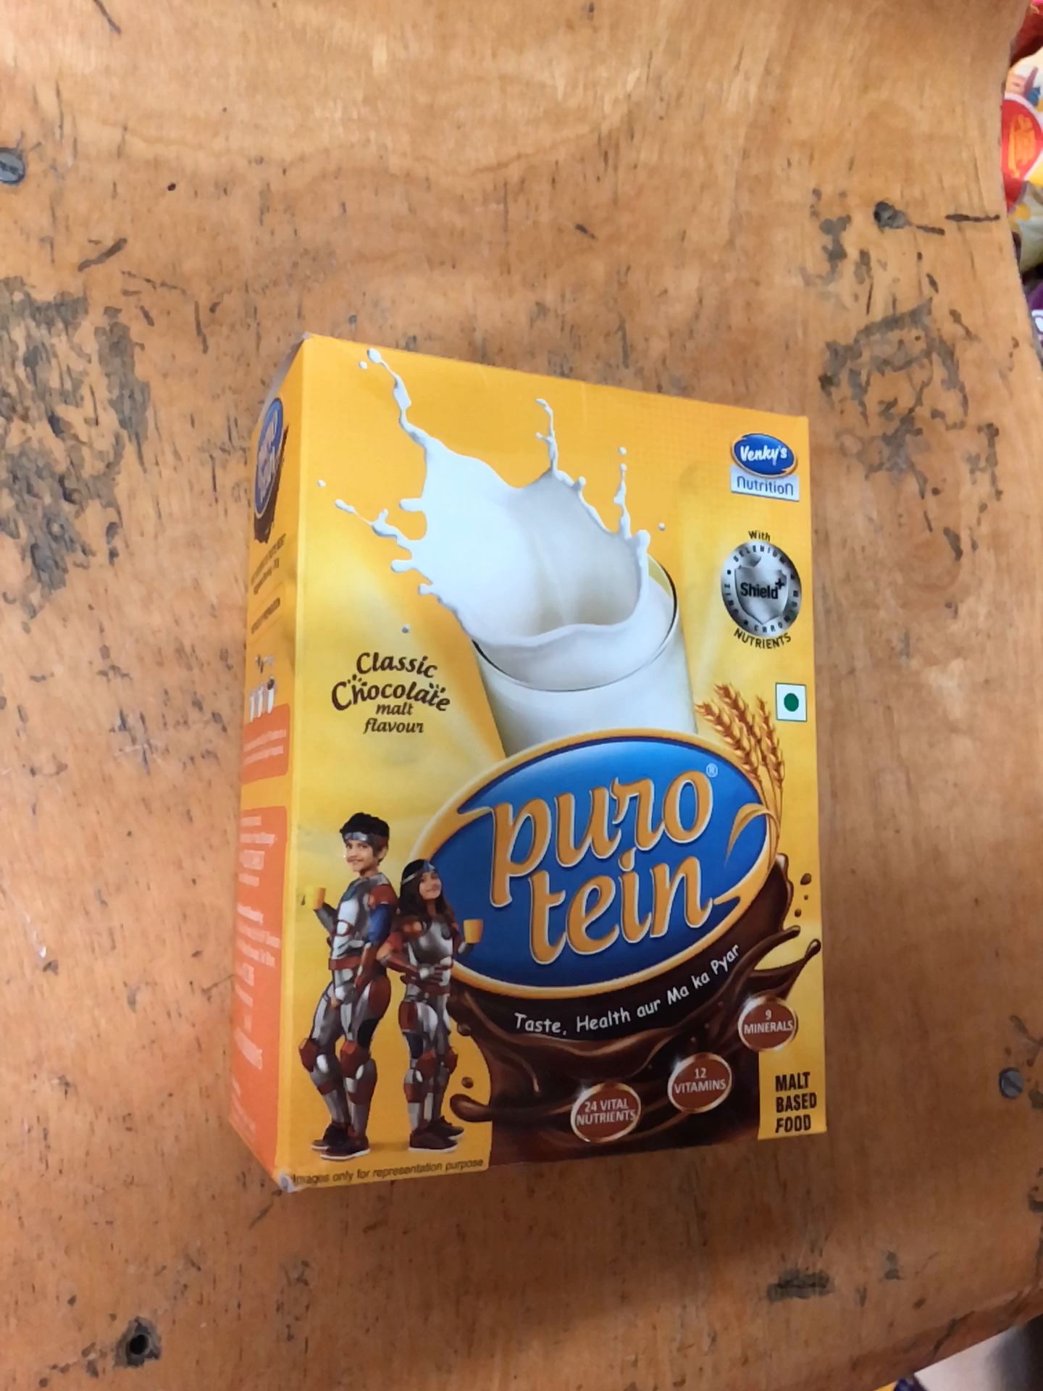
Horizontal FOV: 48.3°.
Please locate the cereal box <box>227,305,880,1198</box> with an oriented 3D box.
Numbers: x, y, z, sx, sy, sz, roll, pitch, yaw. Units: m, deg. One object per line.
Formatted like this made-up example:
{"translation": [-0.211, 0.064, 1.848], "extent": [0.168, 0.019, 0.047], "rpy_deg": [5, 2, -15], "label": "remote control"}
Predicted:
{"translation": [0.006, 0.015, 0.295], "extent": [0.140, 0.080, 0.180], "rpy_deg": [3, 83, -20], "label": "cereal box"}
